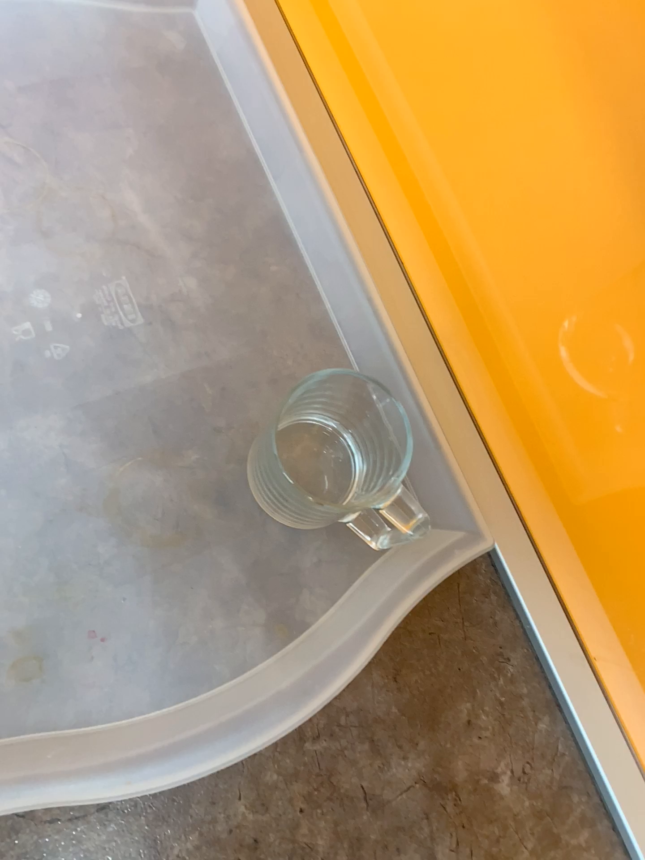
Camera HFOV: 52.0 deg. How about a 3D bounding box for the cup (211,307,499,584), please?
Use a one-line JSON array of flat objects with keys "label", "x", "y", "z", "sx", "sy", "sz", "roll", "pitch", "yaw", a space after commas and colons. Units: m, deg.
[{"label": "cup", "x": 0.011, "y": 0.016, "z": 0.366, "sx": 0.081, "sy": 0.104, "sz": 0.108, "roll": -43, "pitch": 91, "yaw": -20}]
